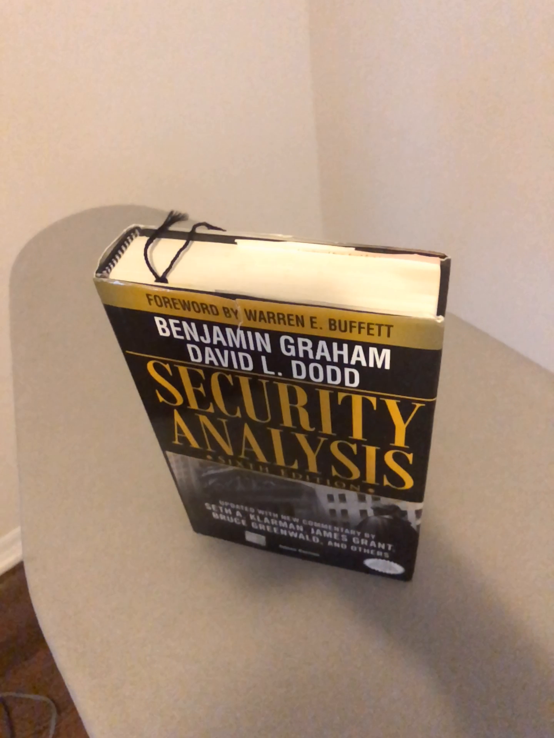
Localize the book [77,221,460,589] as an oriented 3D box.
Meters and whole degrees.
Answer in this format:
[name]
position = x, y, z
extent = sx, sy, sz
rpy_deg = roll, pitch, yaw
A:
[book]
position = 0.006, 0.034, 0.357
extent = 0.164, 0.231, 0.047
rpy_deg = 9, 49, 17
